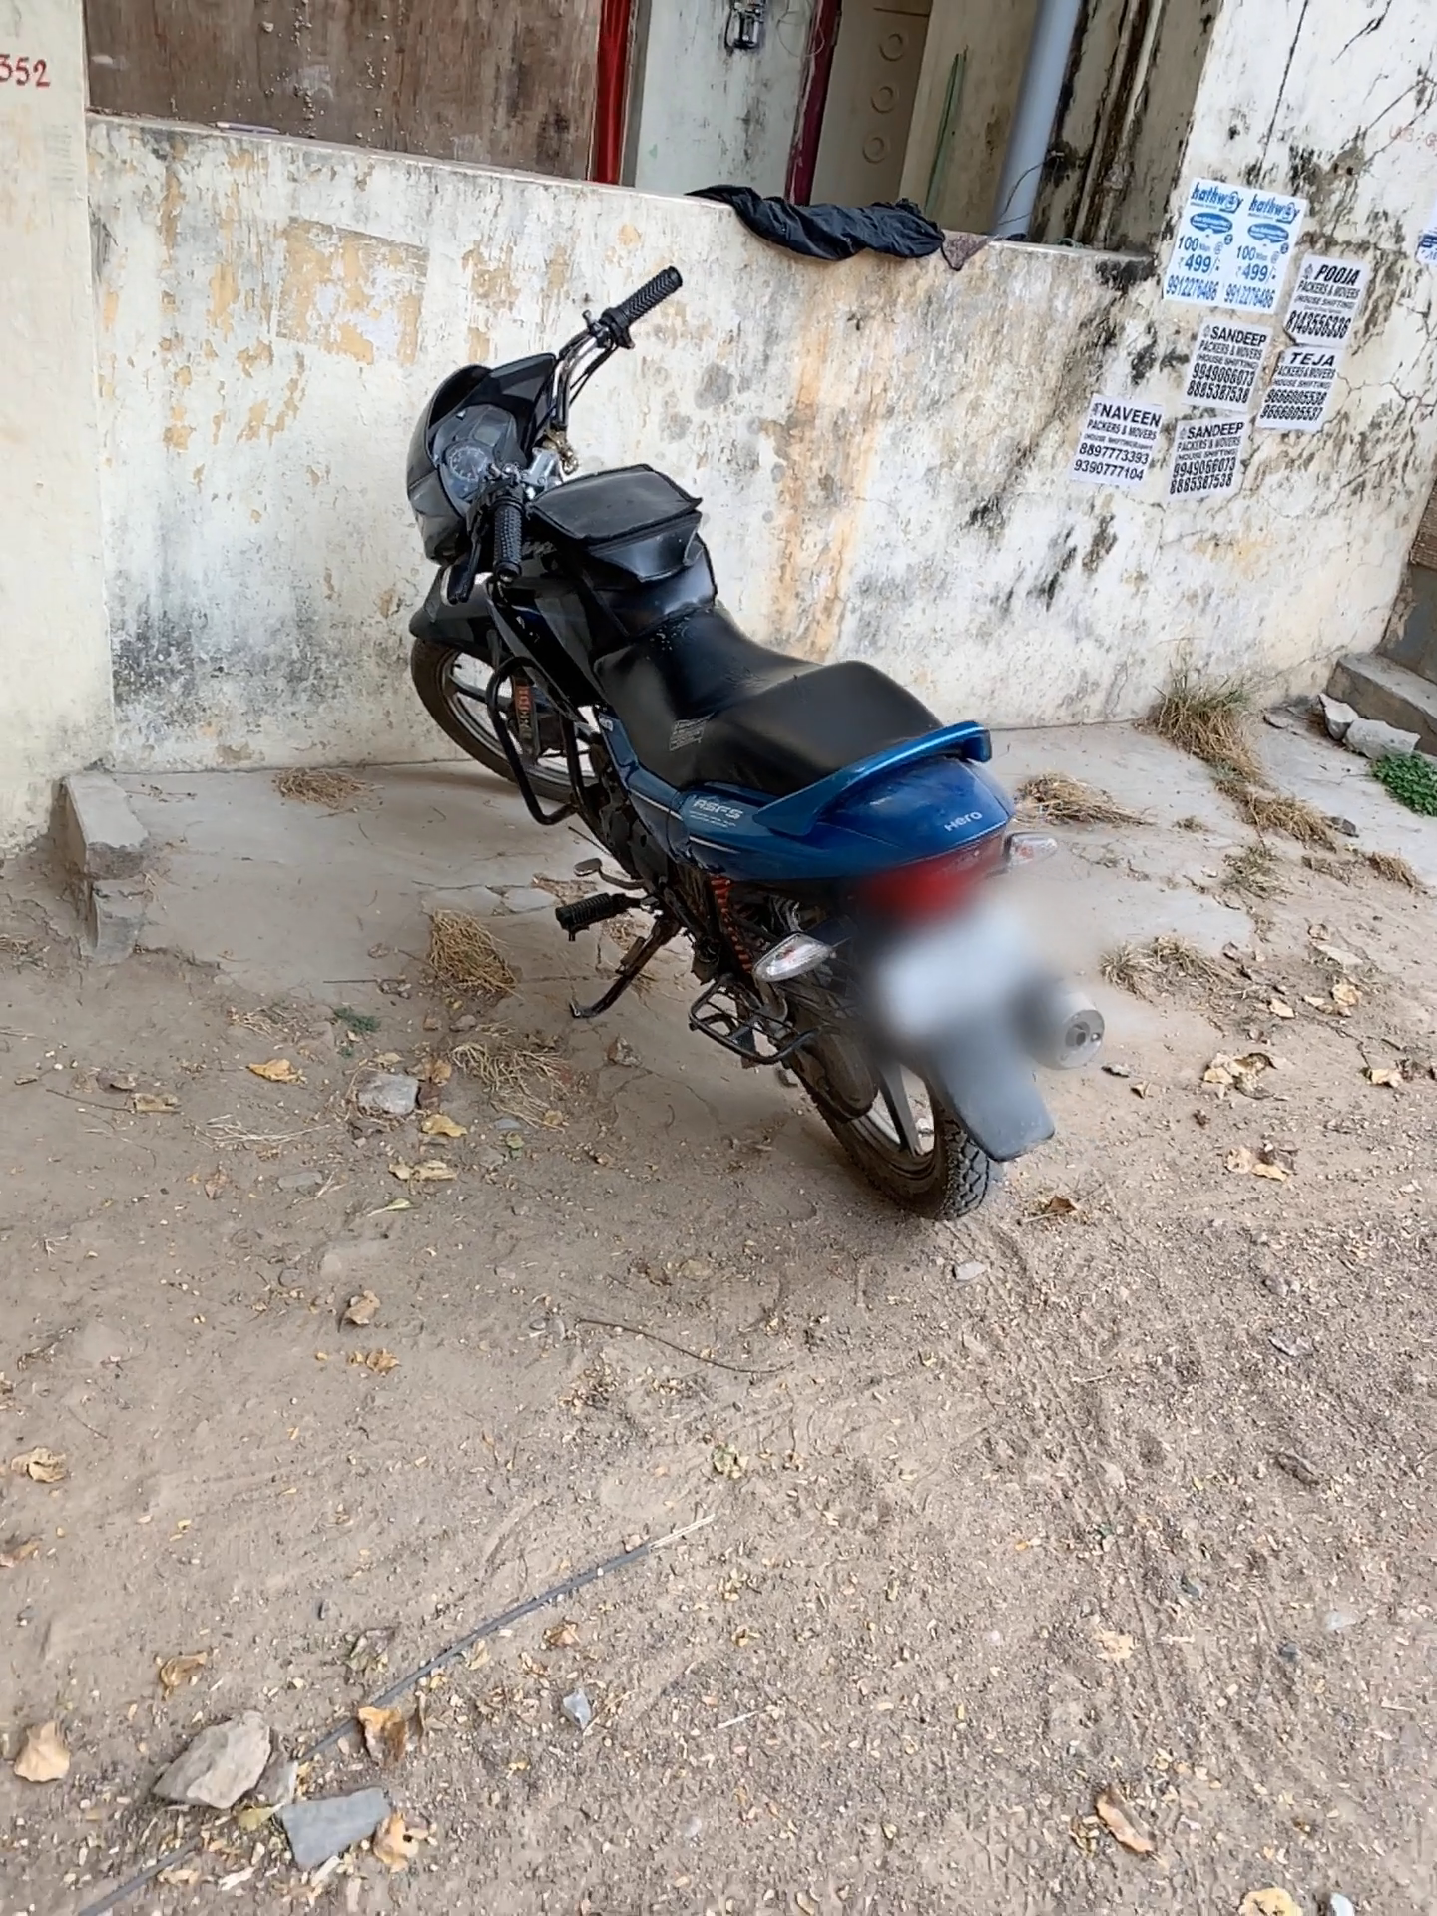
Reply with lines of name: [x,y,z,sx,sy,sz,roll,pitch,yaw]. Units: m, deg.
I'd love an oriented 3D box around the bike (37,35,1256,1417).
bike: [-0.323,-0.479,2.239,0.755,1.234,1.708,-12,38,-35]
